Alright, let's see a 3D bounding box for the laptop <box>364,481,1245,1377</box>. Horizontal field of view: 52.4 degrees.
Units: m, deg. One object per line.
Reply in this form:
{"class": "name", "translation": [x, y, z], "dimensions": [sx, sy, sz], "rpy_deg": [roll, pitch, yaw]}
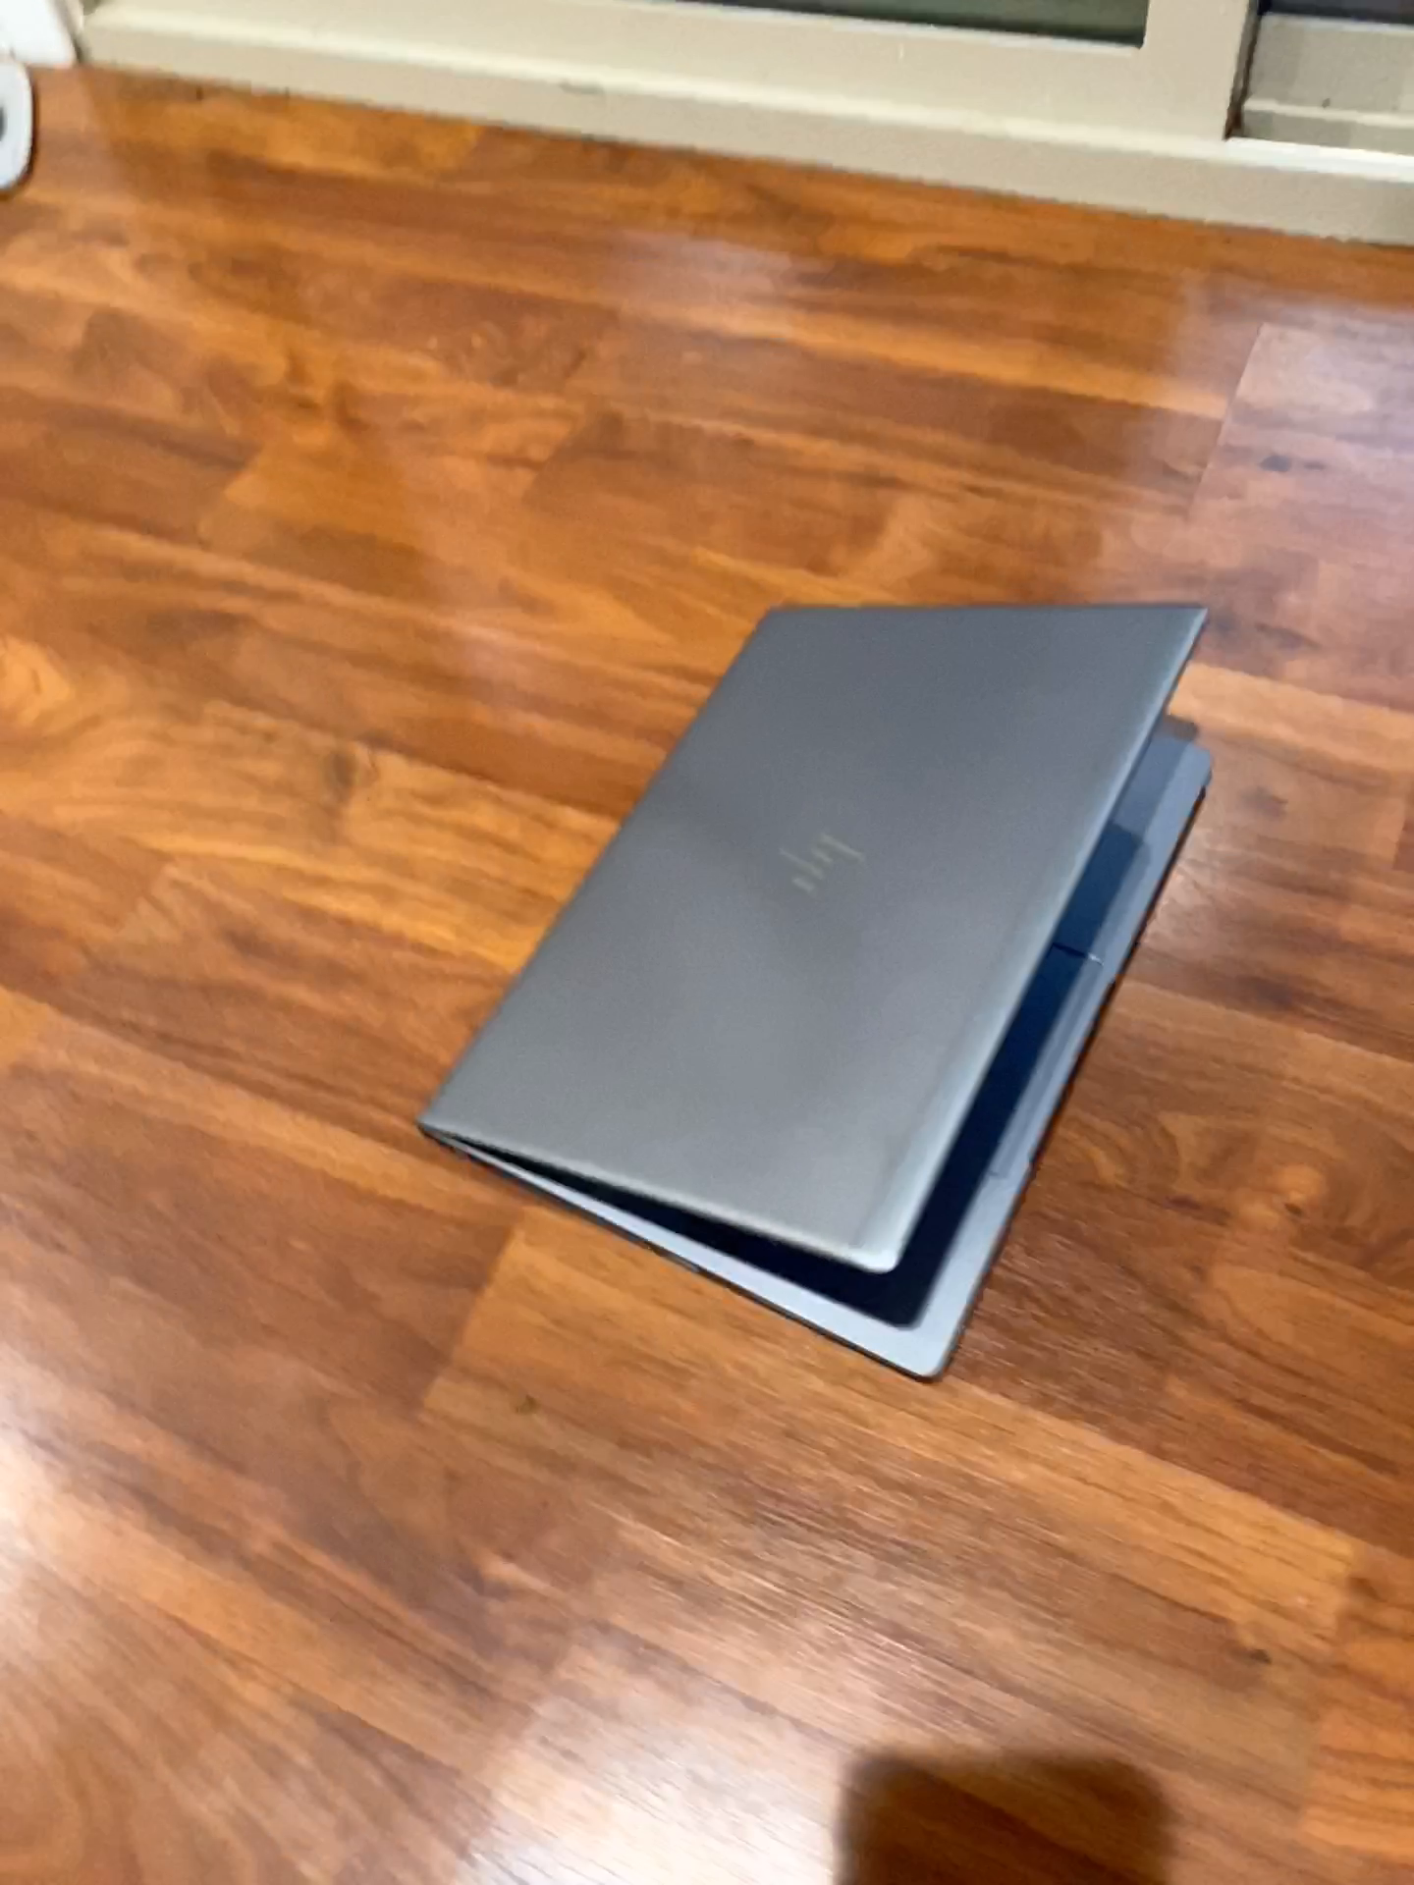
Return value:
{"class": "laptop", "translation": [0.053, -0.029, 0.602], "dimensions": [0.230, 0.078, 0.325], "rpy_deg": [22, 63, 18]}
